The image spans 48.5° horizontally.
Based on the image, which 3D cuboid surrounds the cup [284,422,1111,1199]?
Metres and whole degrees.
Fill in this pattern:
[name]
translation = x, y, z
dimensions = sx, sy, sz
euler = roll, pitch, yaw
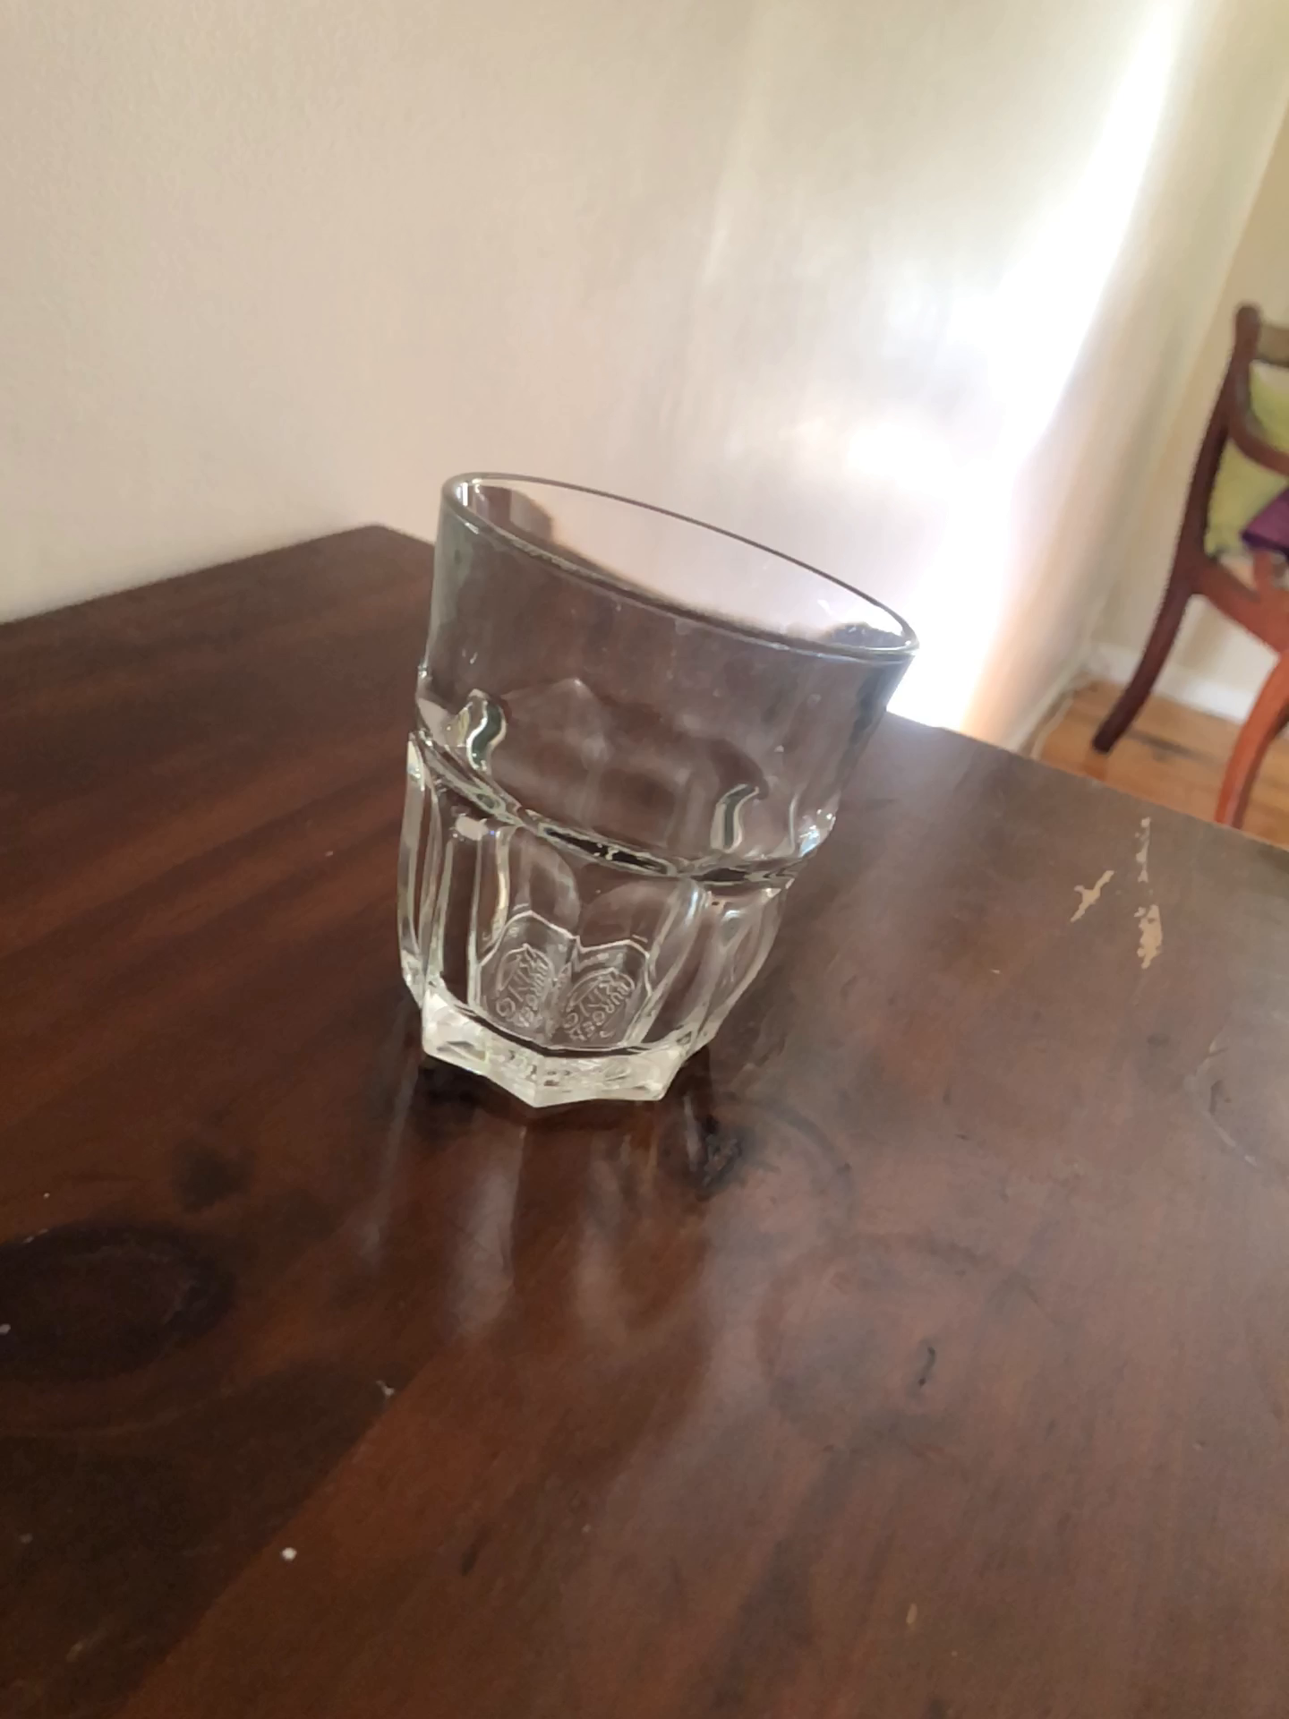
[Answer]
[cup]
translation = 0.003, -0.016, 0.261
dimensions = 0.101, 0.095, 0.090
euler = -8, 34, -34
